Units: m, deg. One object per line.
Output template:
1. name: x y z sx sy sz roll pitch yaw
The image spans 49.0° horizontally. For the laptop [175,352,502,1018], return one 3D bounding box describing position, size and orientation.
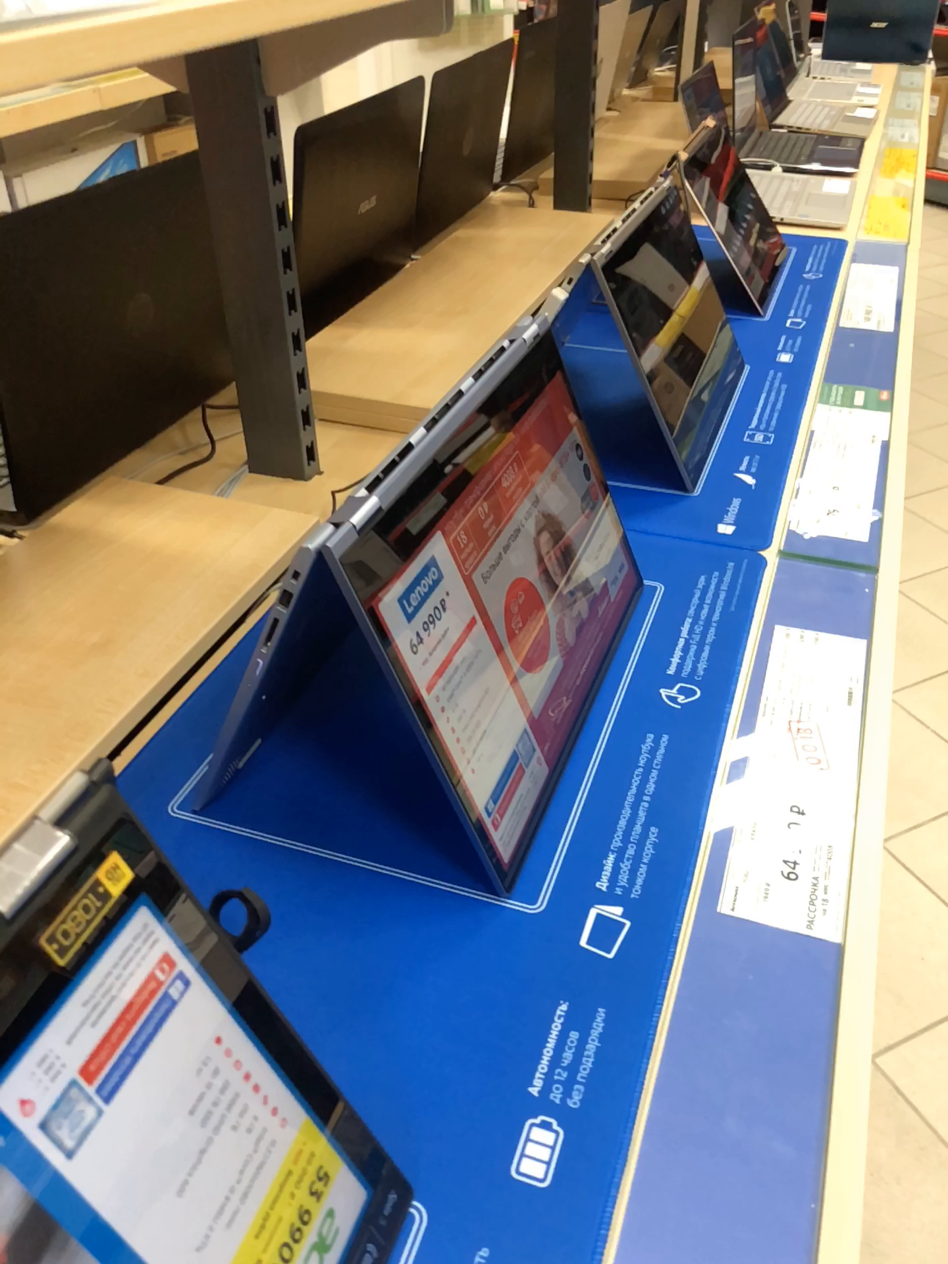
1. laptop: -0.078 0.037 0.728 0.221 0.157 0.307 -27 19 31
